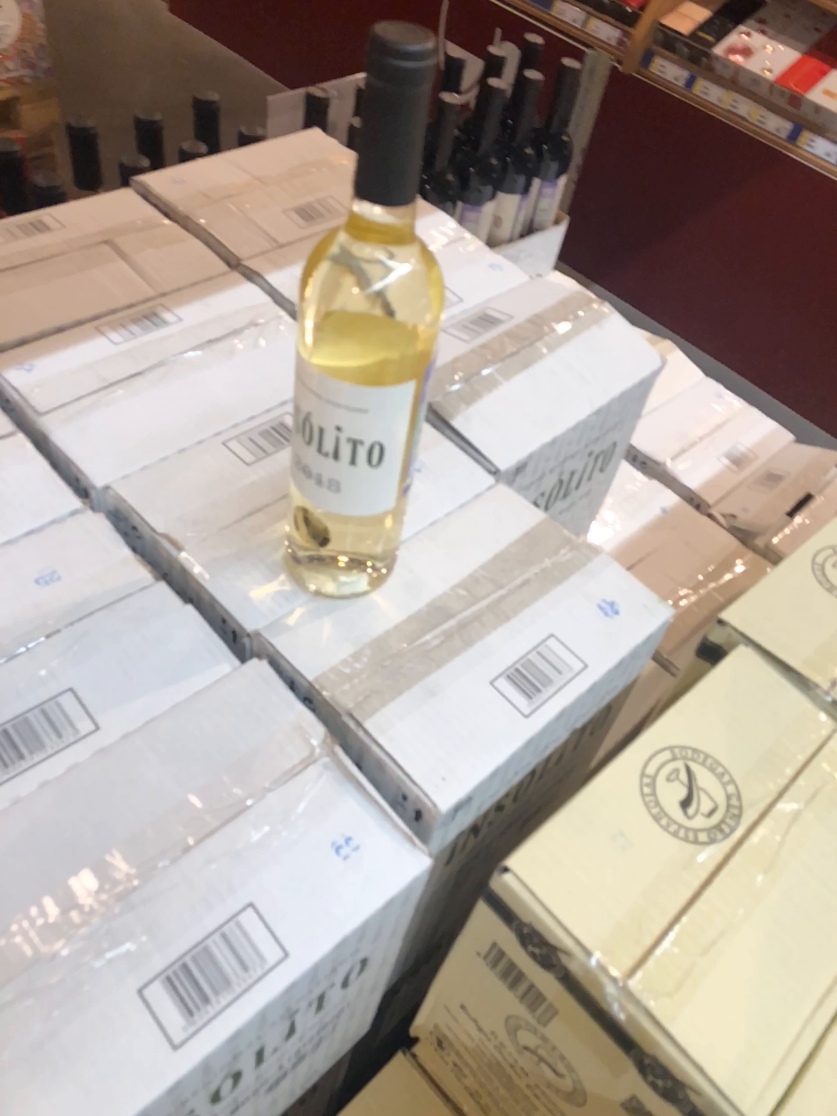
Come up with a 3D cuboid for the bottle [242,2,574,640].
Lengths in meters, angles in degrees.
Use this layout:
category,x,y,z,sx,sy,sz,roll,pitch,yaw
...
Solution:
category,x,y,z,sx,sy,sz,roll,pitch,yaw
bottle,-0.024,-0.097,0.466,0.090,0.298,0.090,6,49,-7
